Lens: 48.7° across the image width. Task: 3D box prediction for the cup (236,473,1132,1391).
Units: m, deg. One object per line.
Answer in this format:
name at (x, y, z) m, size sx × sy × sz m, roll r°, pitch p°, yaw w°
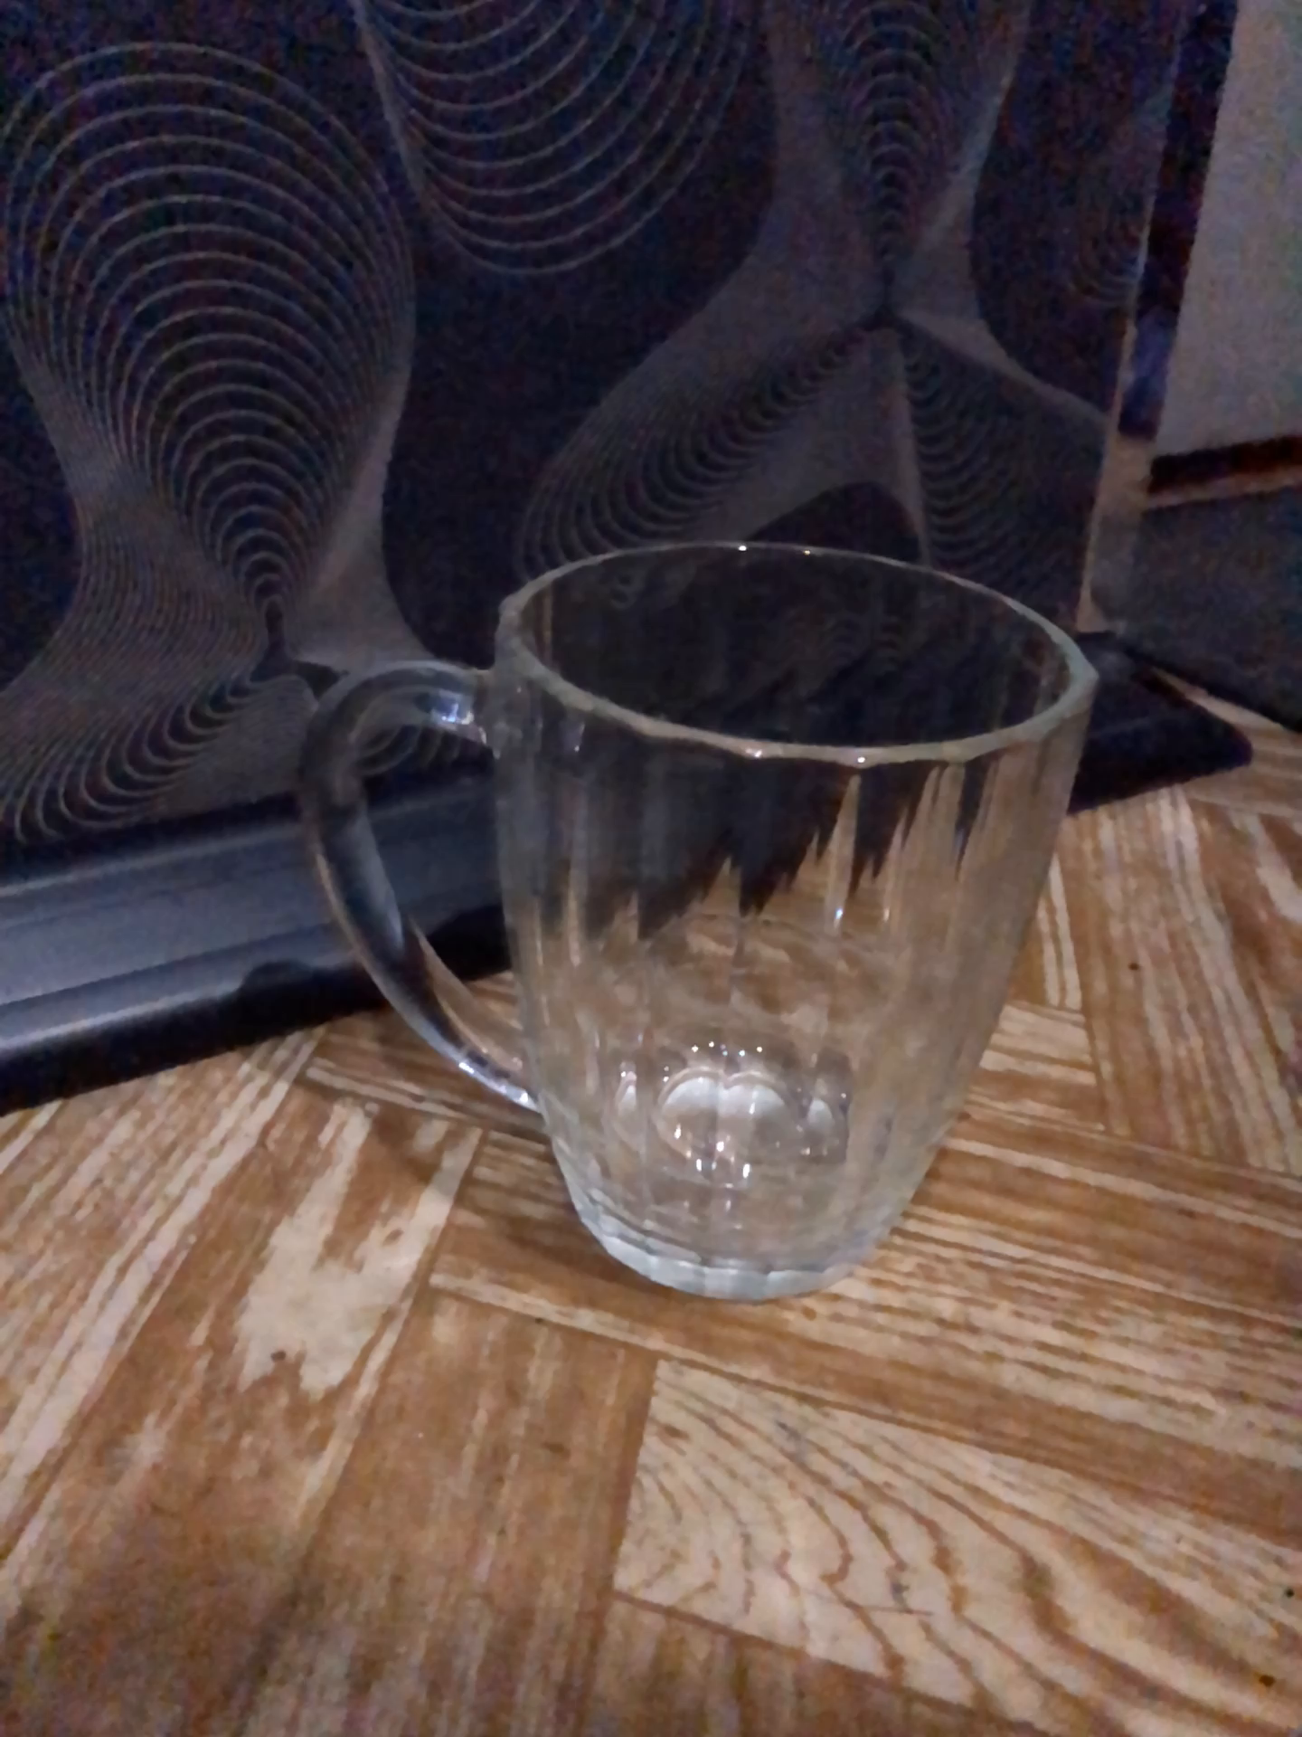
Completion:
cup at (0.014, 0.000, 0.268) m, size 0.125 × 0.107 × 0.114 m, roll 11°, pitch 30°, yaw 13°
